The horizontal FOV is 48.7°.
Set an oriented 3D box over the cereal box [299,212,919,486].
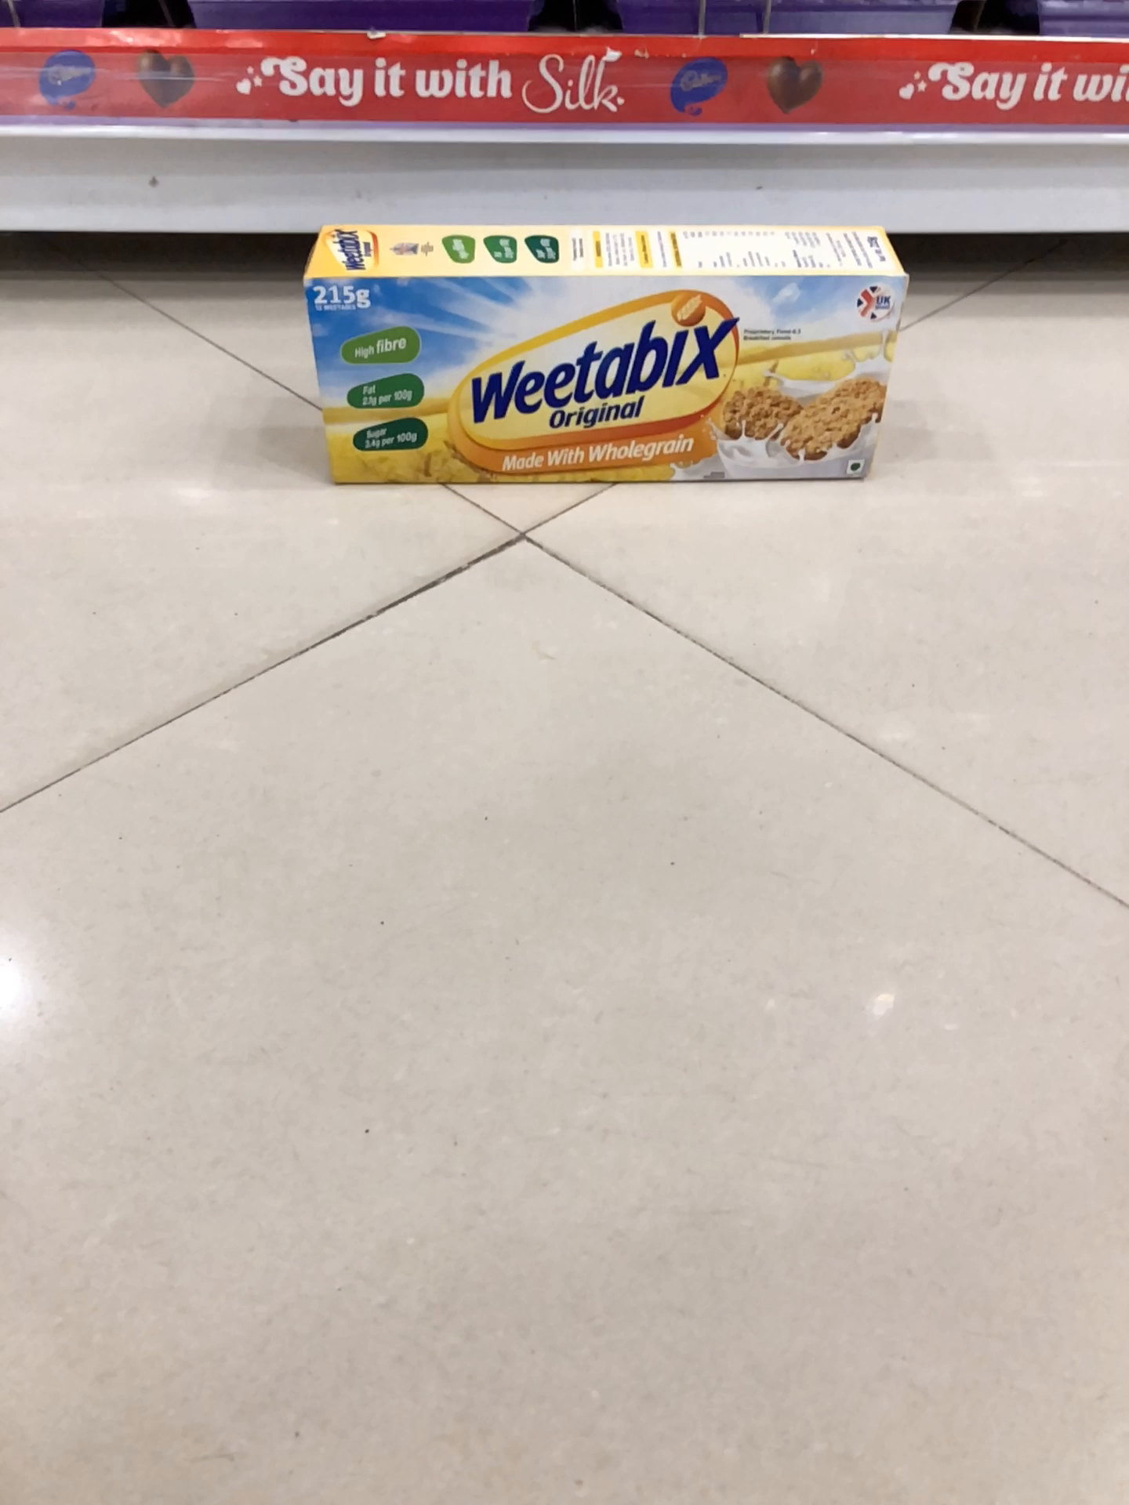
[{"bbox_3d":[0.017,-0.179,0.558,0.250,0.099,0.060,-1,44,-2],"label":"cereal box"}]
